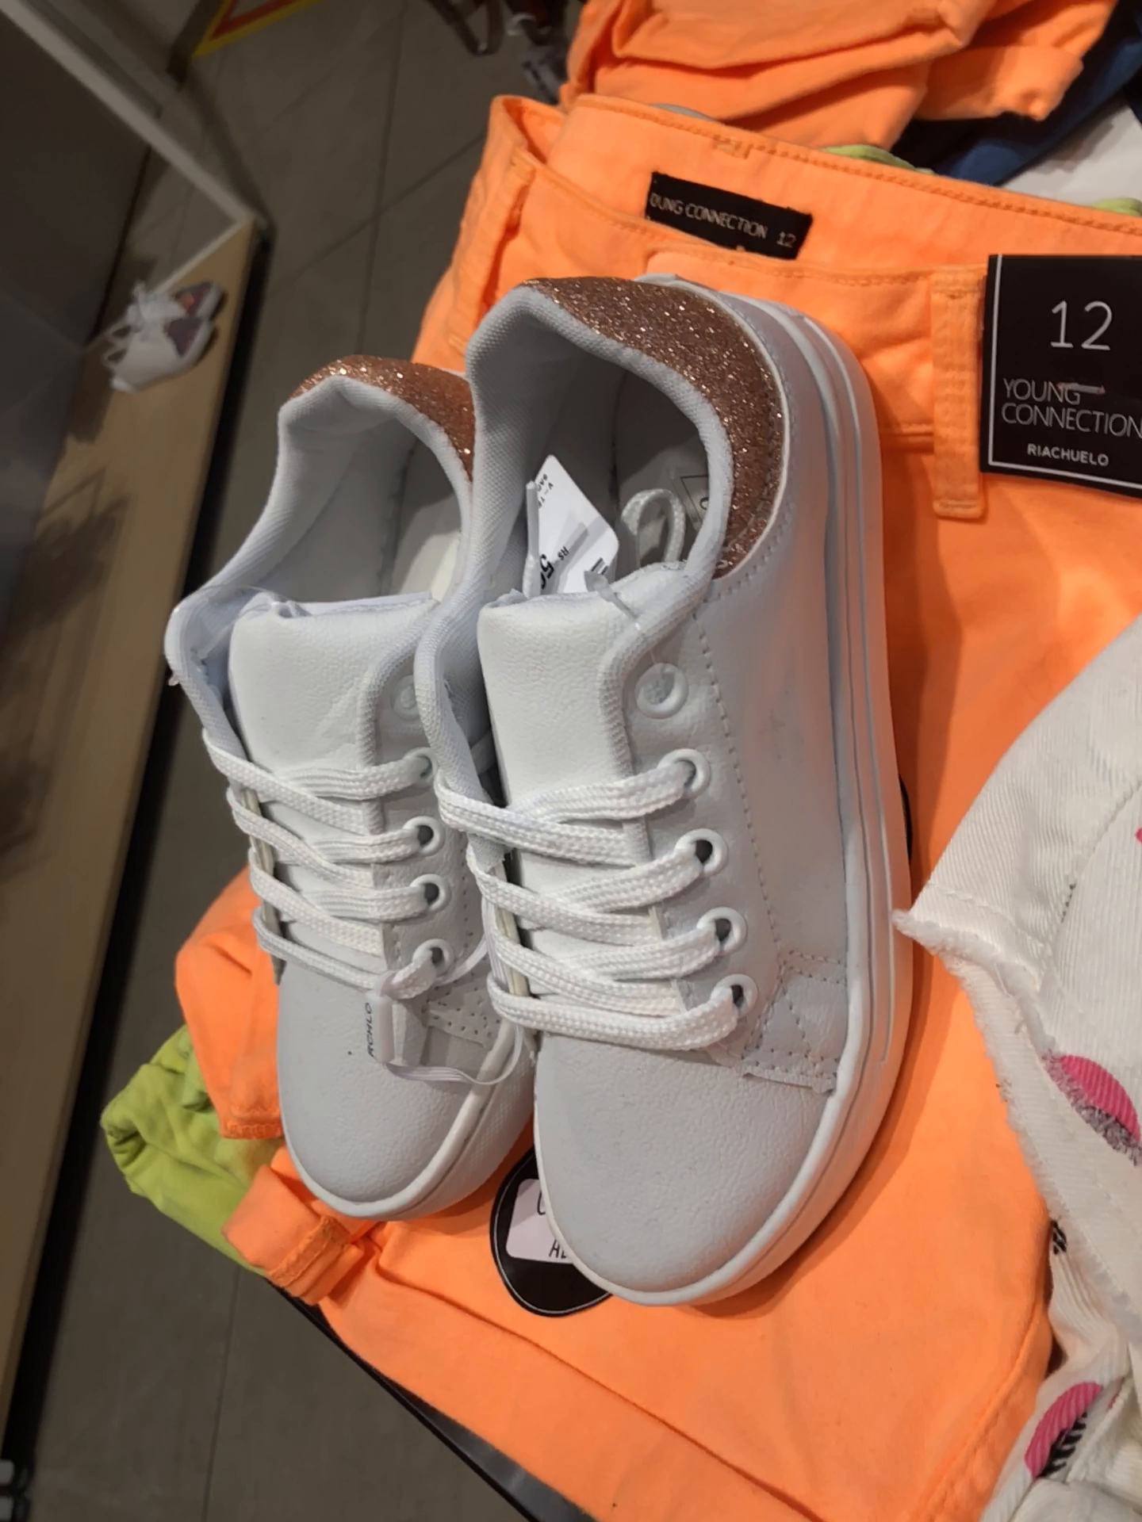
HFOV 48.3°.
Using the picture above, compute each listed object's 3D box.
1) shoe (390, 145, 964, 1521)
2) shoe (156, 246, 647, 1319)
[{"bbox_3d":[0.020,0.013,0.243,0.080,0.070,0.210,-1,89,41],"label":"shoe"},{"bbox_3d":[-0.038,0.003,0.298,0.080,0.070,0.210,3,92,28],"label":"shoe"}]
